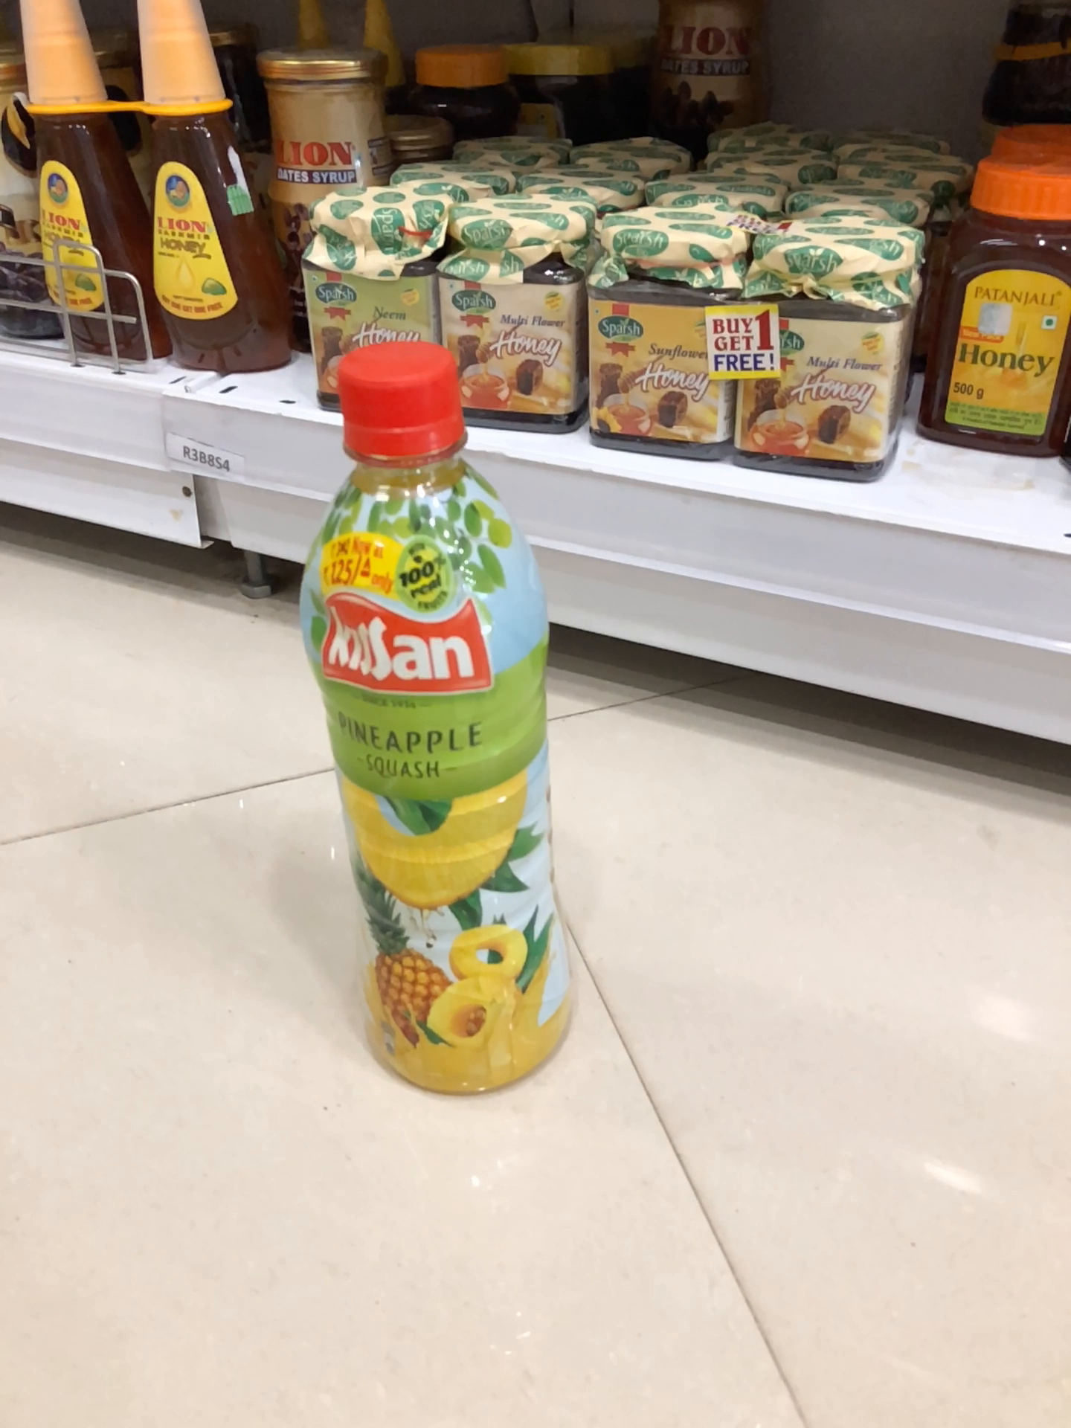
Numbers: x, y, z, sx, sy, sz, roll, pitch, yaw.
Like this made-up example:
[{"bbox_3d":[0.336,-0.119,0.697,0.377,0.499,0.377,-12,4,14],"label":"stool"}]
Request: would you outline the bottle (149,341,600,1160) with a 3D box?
[{"bbox_3d":[-0.031,0.019,0.348,0.080,0.228,0.081,-2,35,1],"label":"bottle"}]
